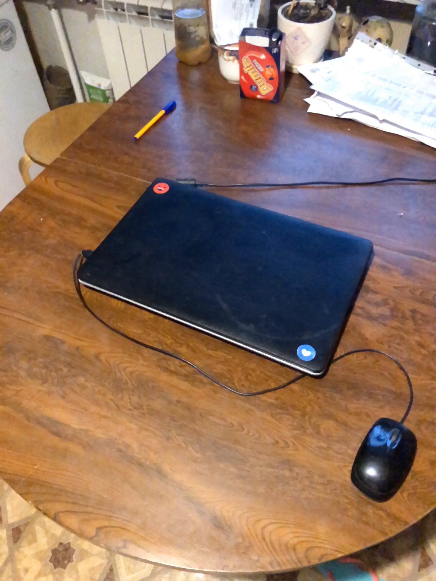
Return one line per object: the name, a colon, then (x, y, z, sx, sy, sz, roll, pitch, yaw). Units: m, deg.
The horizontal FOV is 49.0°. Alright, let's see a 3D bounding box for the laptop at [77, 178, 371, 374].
laptop: (0.013, -0.044, 0.713, 0.366, 0.007, 0.239, 21, 57, 16)
